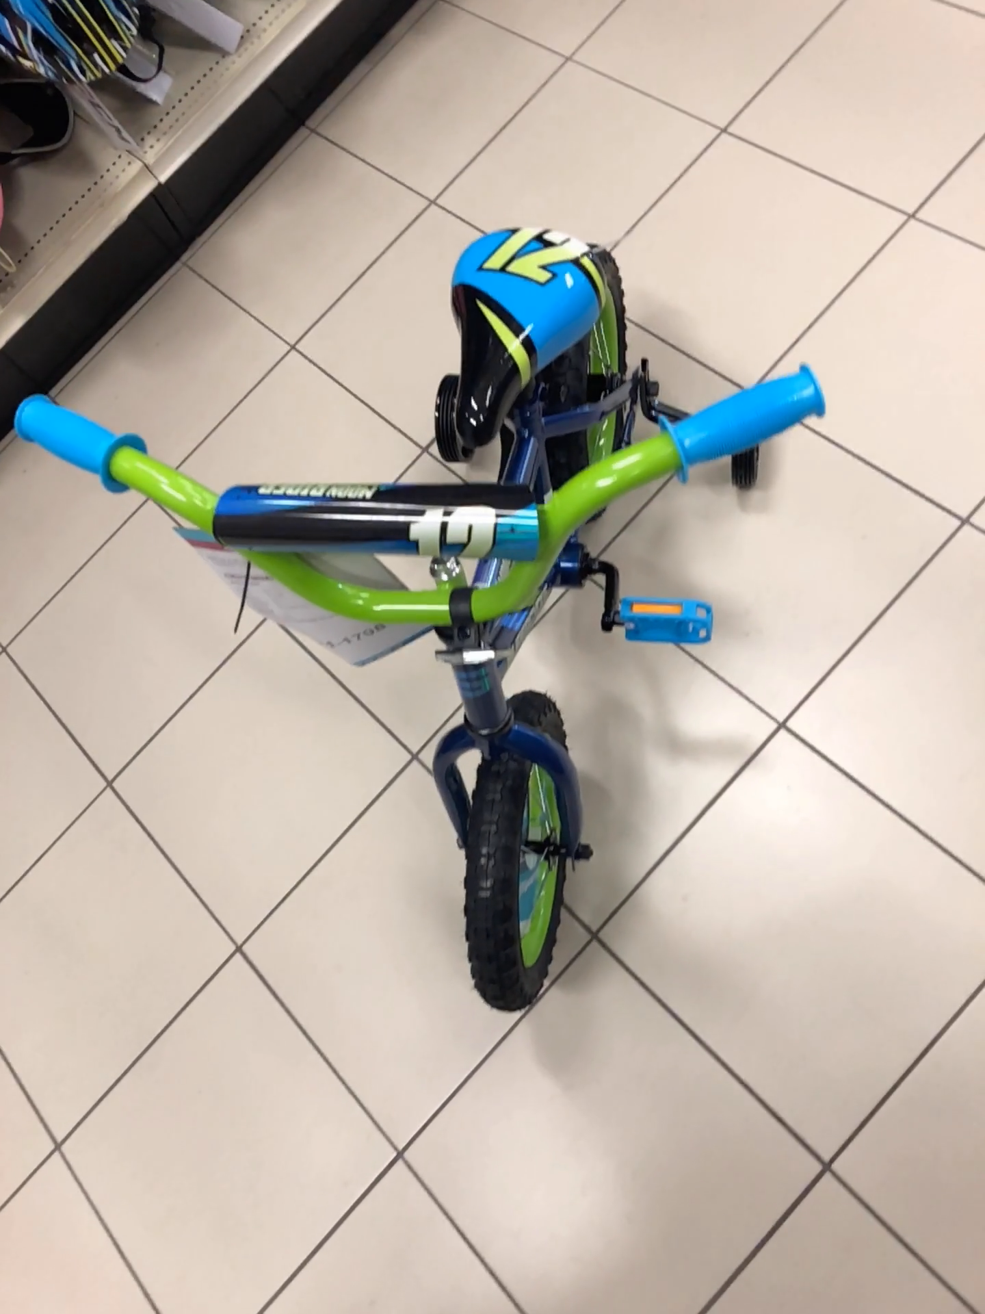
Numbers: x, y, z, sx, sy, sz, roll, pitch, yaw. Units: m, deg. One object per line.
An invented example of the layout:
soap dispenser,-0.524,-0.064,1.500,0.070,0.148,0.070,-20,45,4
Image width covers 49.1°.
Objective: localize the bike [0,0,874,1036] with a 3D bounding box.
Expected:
bike,0.019,-0.134,0.937,0.549,0.677,0.795,2,70,20
